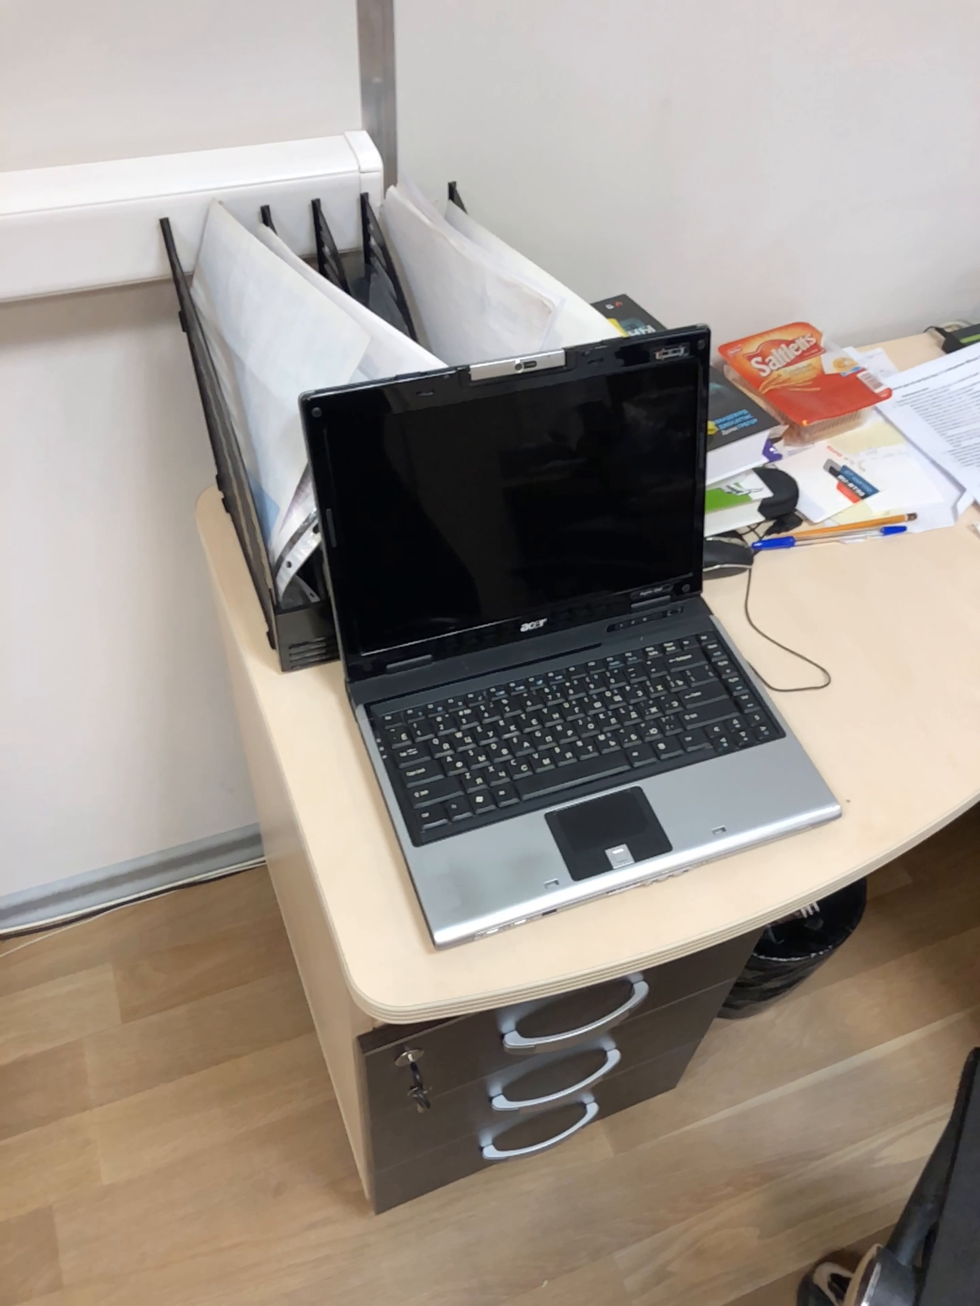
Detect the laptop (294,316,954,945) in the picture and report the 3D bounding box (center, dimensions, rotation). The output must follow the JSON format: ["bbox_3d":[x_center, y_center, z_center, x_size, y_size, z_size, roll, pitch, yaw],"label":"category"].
[{"bbox_3d":[0.067,-0.032,0.783,0.326,0.219,0.324,-14,53,-15],"label":"laptop"}]
